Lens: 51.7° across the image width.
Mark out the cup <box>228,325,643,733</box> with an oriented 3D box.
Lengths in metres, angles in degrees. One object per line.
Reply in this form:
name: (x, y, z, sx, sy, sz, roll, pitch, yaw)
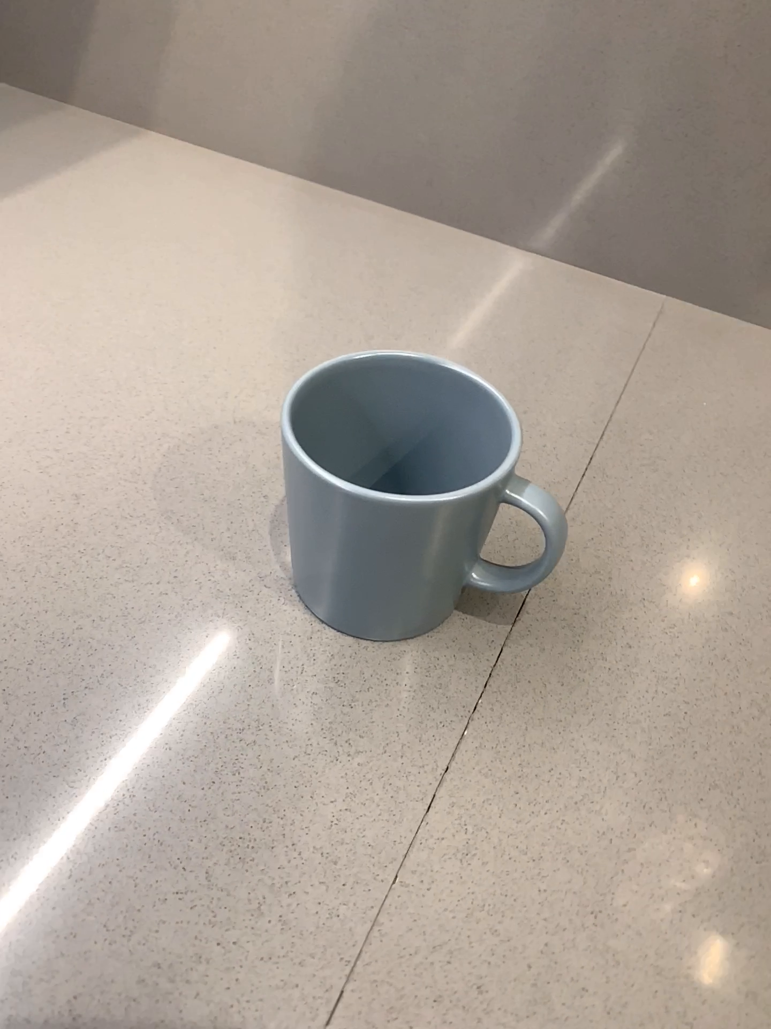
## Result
cup: (0.018, 0.002, 0.325, 0.130, 0.090, 0.090, 22, 47, 14)
